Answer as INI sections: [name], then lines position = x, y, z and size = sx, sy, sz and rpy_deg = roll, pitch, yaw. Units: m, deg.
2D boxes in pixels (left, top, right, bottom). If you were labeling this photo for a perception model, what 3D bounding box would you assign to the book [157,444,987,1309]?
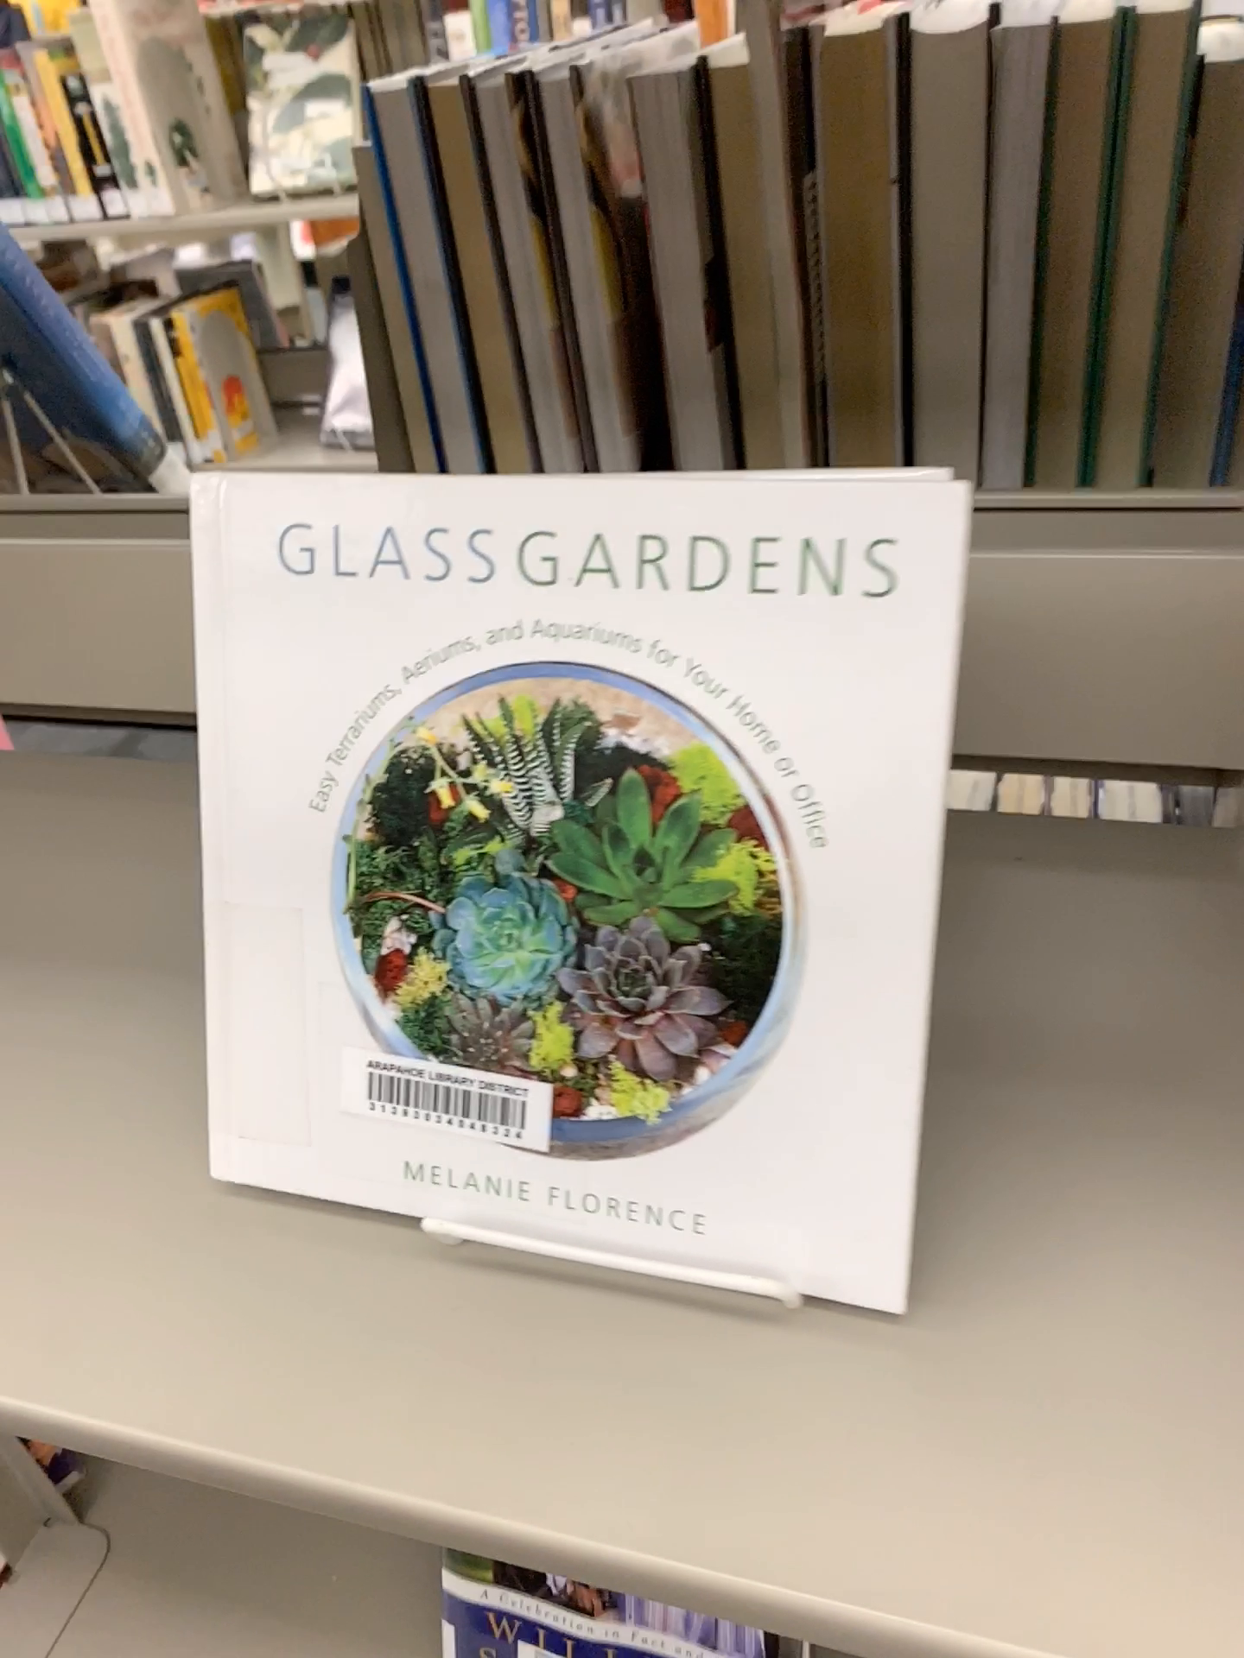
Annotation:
[book]
position = -0.016, 0.005, 0.293
size = 0.180, 0.174, 0.030
rpy_deg = 4, 12, 18
